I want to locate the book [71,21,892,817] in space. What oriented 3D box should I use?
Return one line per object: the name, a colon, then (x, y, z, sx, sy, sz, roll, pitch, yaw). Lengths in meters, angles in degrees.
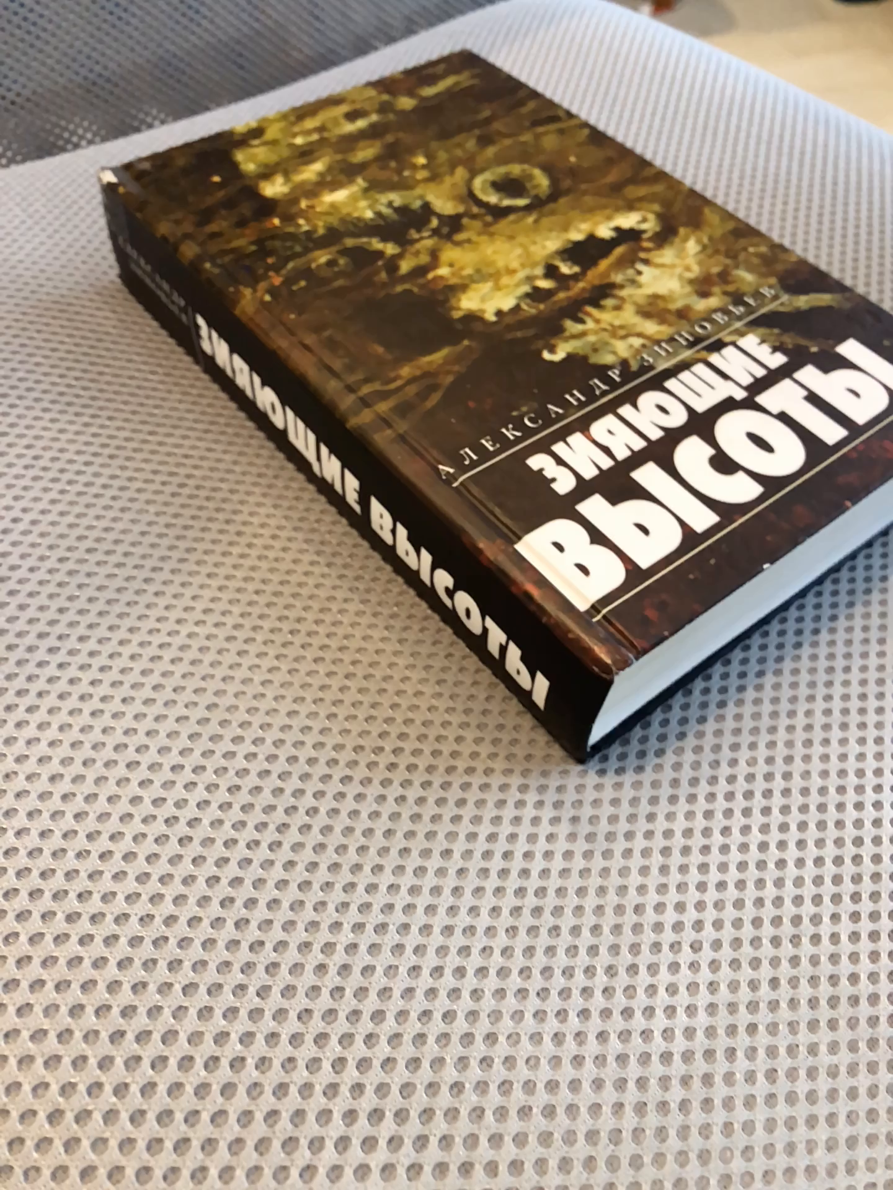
book: (0.019, -0.064, 0.255, 0.140, 0.040, 0.190, -31, 66, -25)
